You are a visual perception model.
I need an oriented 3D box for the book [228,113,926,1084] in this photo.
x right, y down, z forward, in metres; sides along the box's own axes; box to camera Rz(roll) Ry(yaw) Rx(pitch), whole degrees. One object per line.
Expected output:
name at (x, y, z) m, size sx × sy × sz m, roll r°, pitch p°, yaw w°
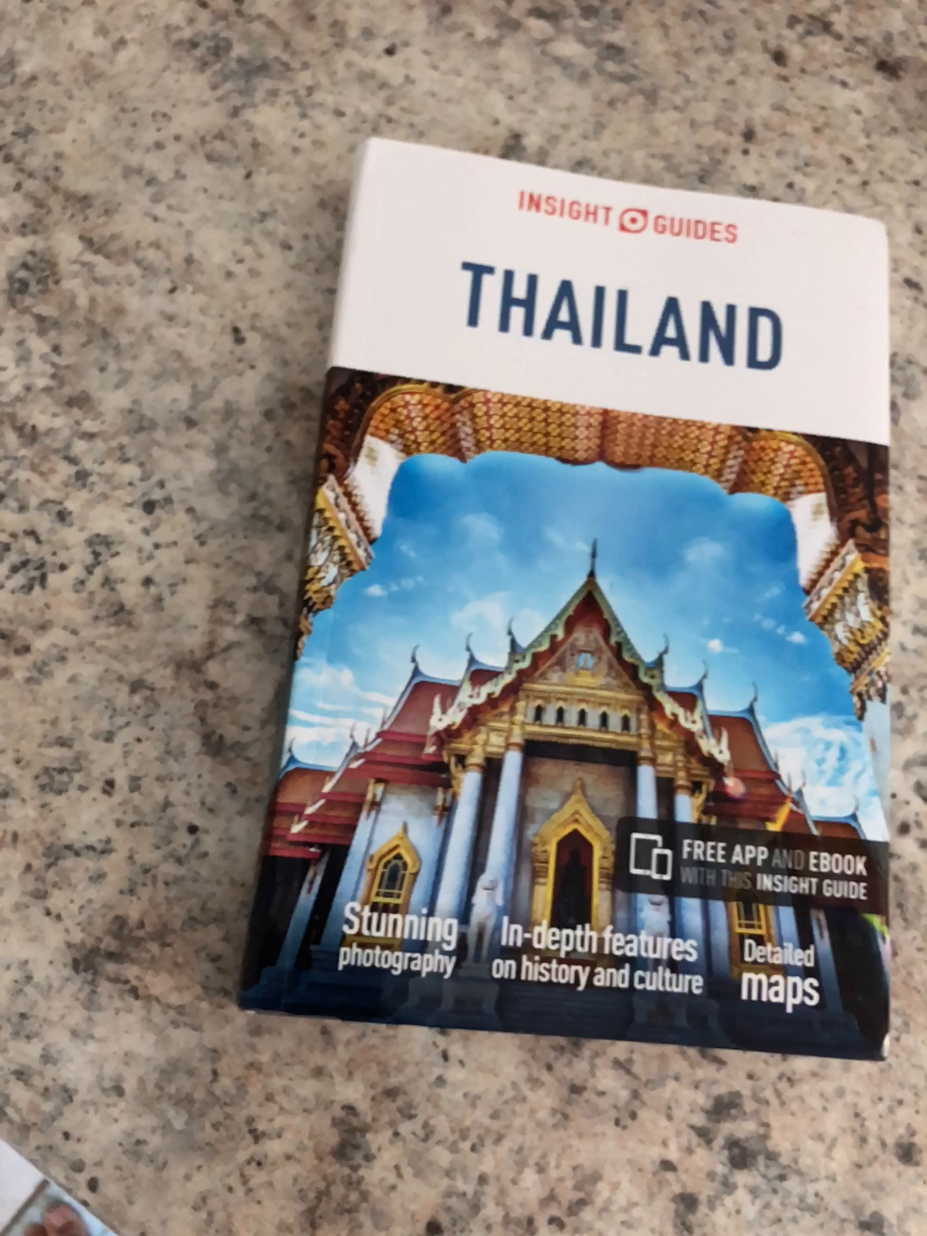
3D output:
book at (0.040, -0.013, 0.283) m, size 0.164 × 0.030 × 0.240 m, roll 8°, pitch 73°, yaw -5°
